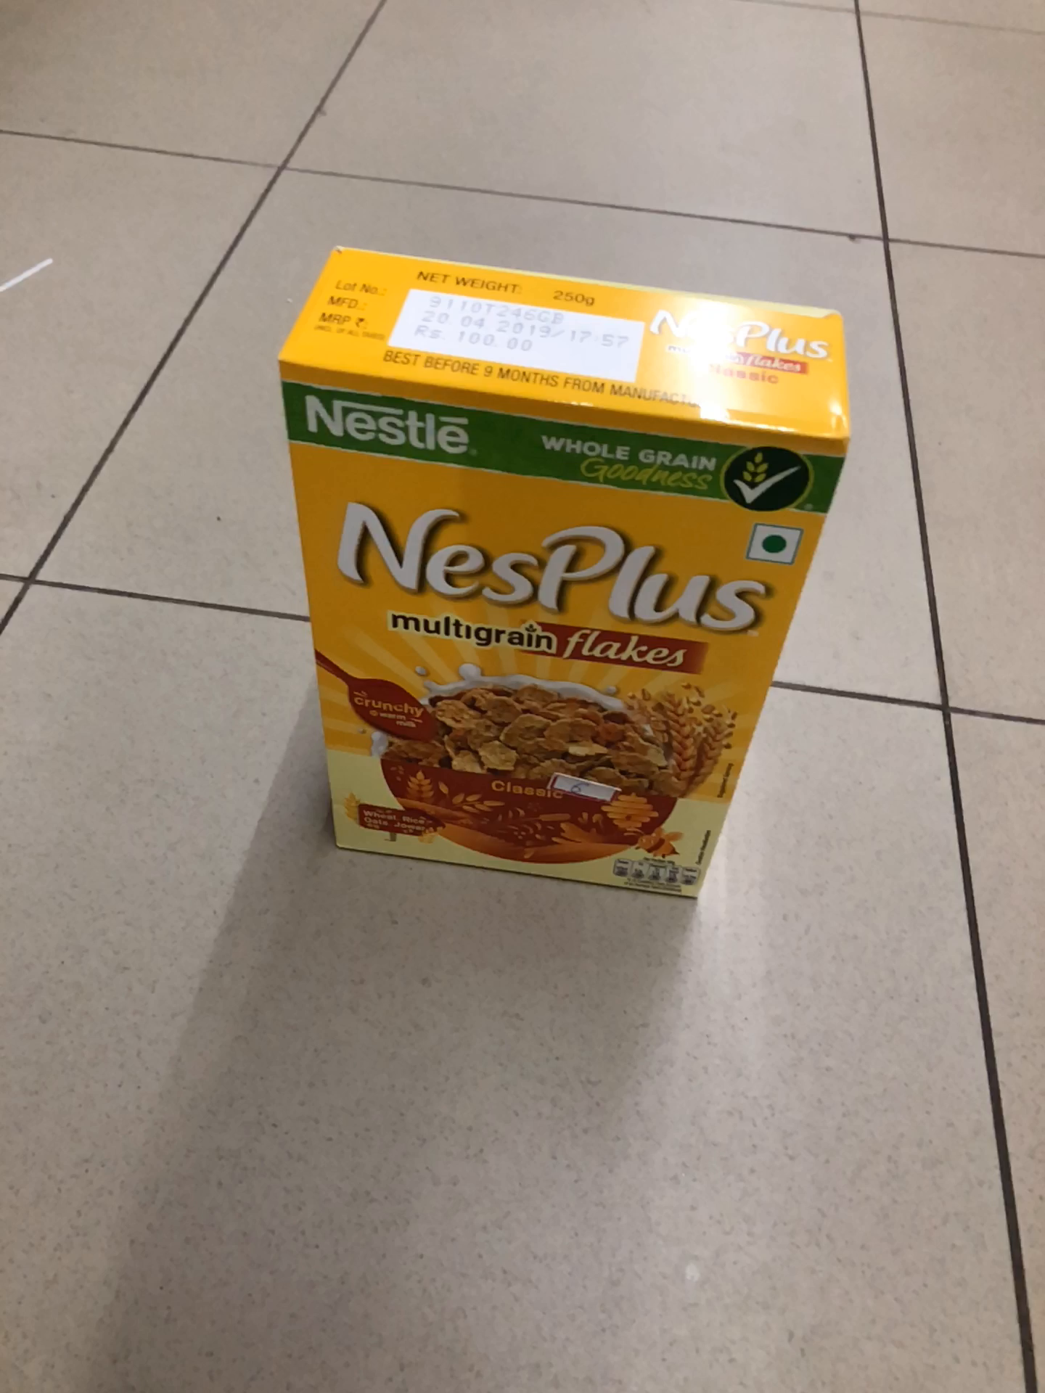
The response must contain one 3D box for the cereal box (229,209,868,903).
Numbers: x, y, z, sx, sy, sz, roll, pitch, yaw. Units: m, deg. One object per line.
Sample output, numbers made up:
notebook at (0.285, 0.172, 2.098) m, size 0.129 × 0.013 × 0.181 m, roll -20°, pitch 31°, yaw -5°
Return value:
cereal box at (0.002, -0.026, 0.345) m, size 0.140 × 0.199 × 0.060 m, roll 8°, pitch 49°, yaw 2°
